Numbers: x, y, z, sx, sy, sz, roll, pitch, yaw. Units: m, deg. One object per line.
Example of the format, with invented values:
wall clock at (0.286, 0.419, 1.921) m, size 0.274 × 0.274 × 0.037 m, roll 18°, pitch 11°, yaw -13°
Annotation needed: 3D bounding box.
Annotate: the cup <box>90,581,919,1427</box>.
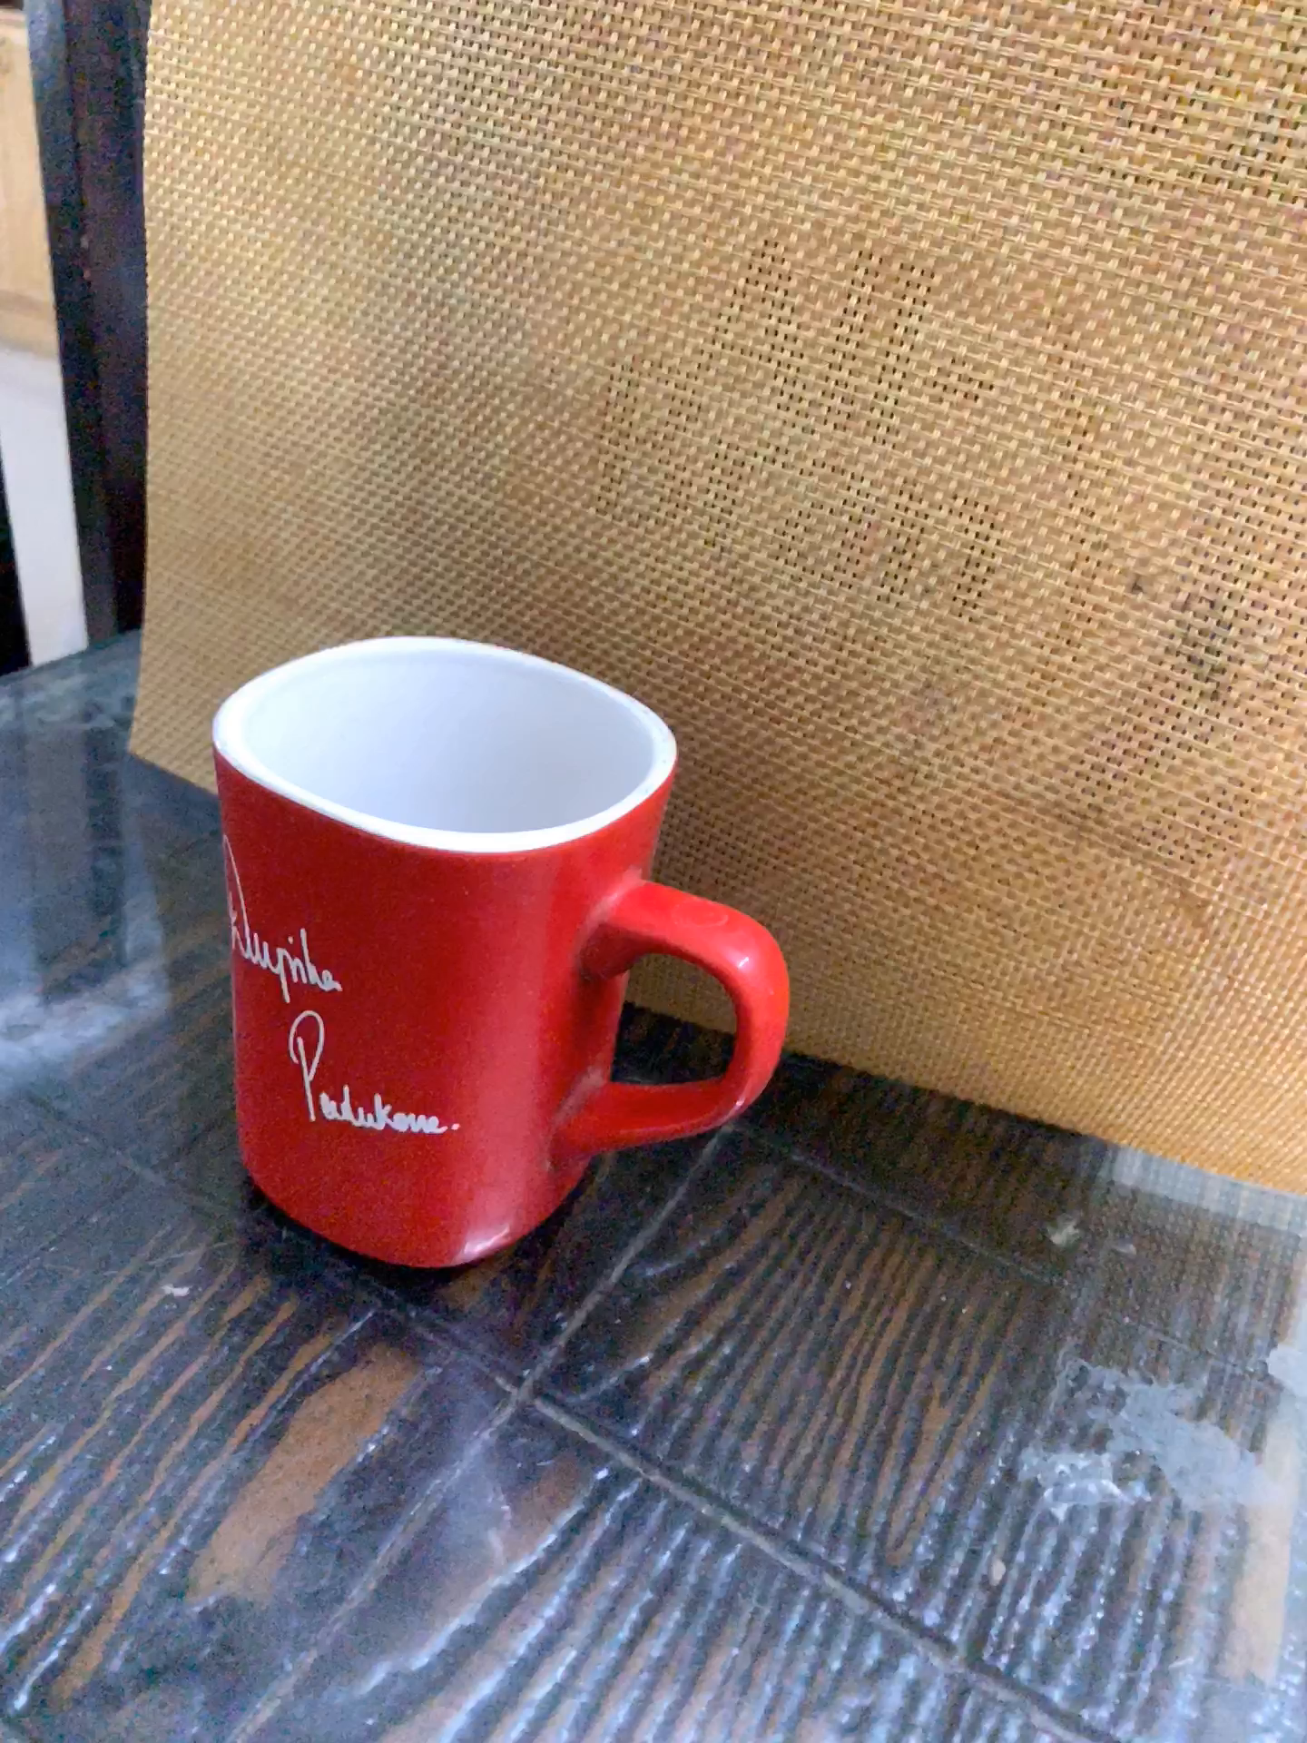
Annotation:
cup at (-0.025, 0.013, 0.222) m, size 0.100 × 0.079 × 0.070 m, roll 24°, pitch 34°, yaw 24°
